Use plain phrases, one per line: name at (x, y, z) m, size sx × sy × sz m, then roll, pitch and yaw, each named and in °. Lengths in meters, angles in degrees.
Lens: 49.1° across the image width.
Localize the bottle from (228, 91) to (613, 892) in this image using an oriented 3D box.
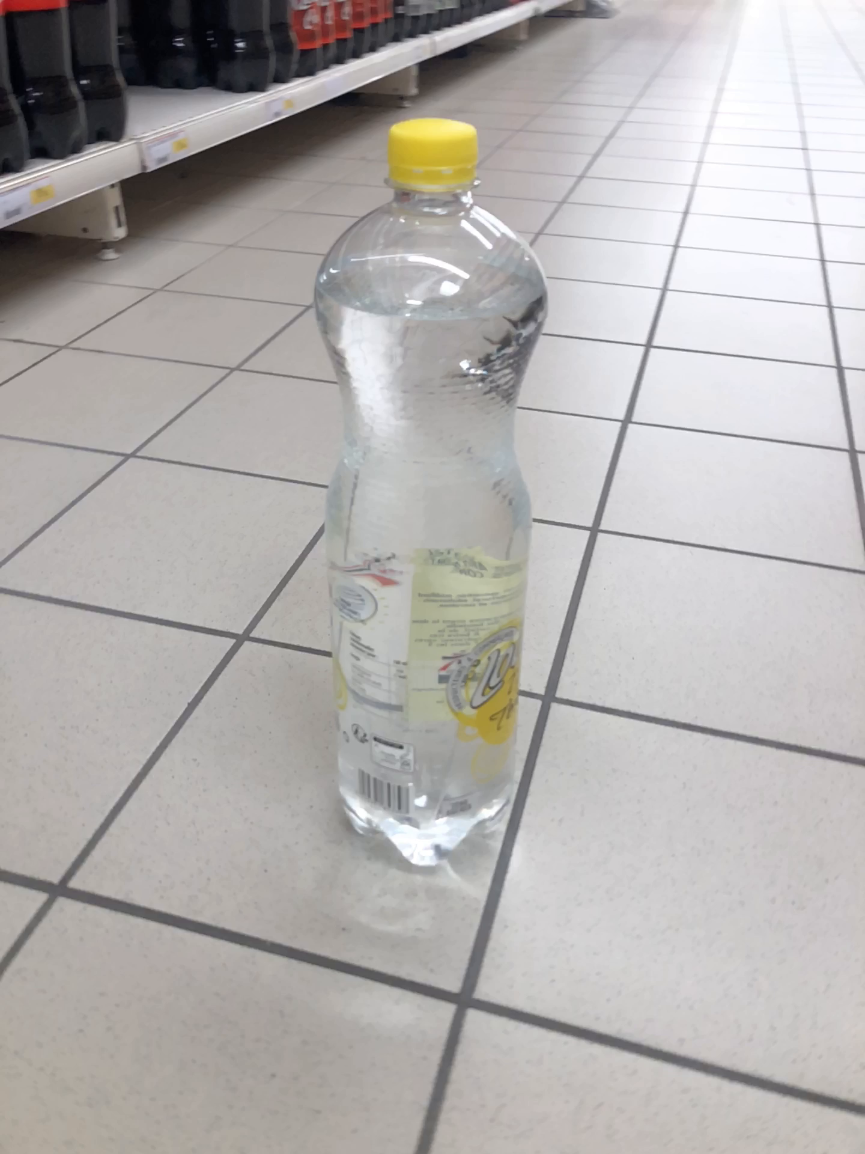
bottle at (-0.001, -0.022, 0.407) m, size 0.100 × 0.318 × 0.101 m, roll 1°, pitch 34°, yaw 0°
